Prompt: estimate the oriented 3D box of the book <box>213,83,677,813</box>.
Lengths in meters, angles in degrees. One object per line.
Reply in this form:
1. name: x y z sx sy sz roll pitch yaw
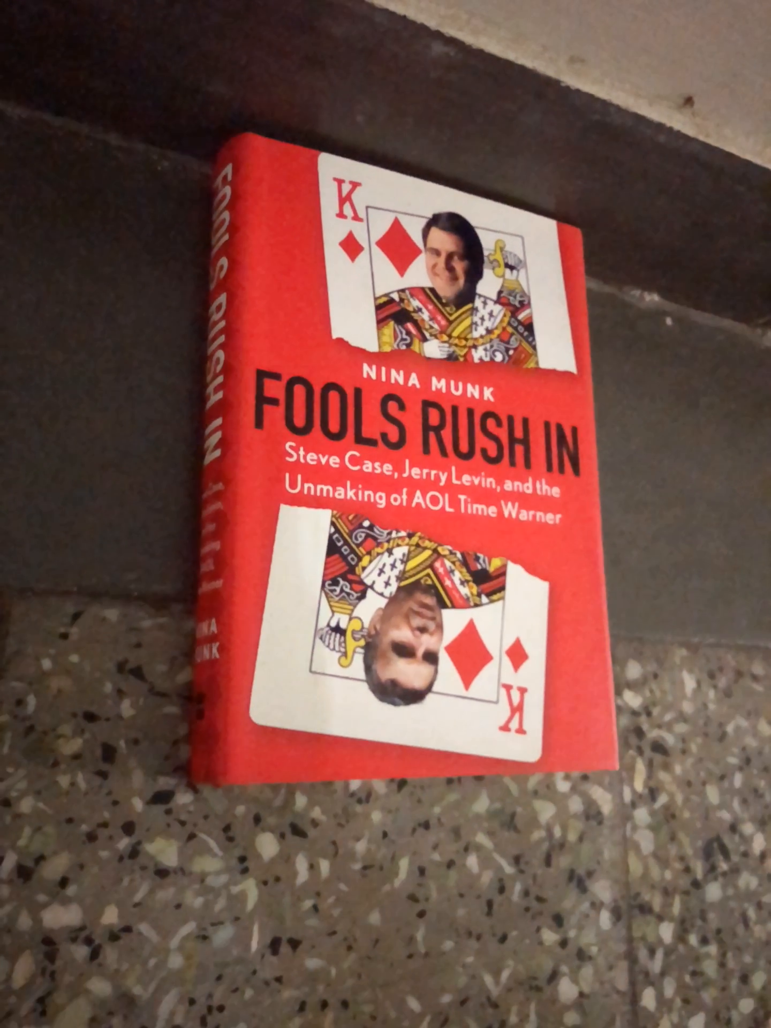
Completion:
1. book: 0.025 -0.026 0.354 0.181 0.030 0.270 6 73 -26
